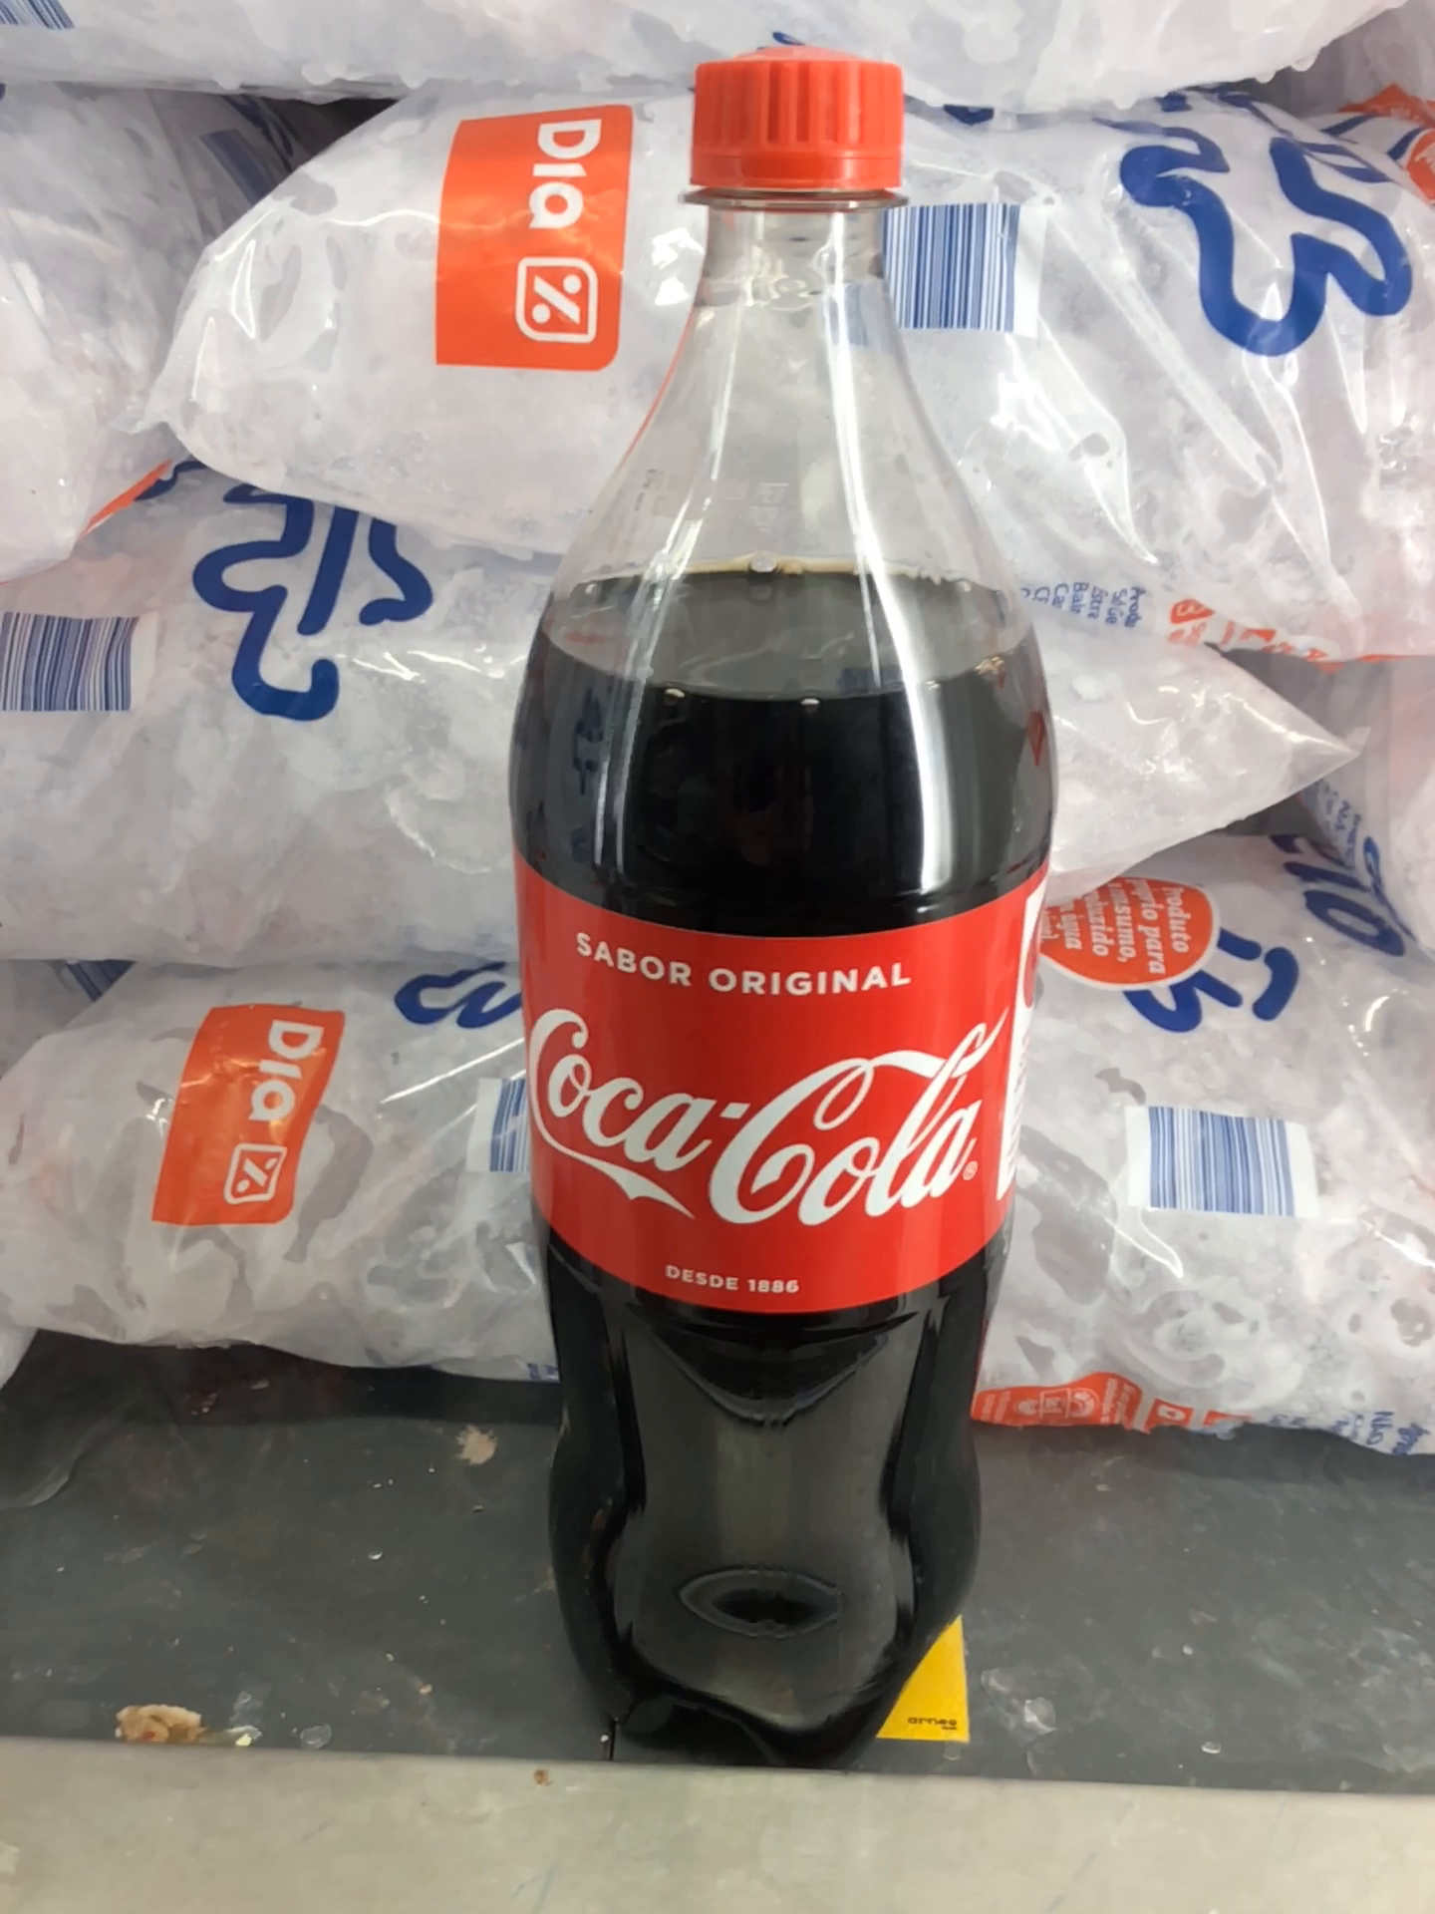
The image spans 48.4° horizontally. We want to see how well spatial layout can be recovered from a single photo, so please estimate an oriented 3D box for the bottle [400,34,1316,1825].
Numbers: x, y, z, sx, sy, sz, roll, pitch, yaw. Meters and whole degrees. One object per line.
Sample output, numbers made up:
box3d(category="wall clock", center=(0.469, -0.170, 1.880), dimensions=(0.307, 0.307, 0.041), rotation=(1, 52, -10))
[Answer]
box3d(category="bottle", center=(0.018, 0.010, 0.274), dimensions=(0.100, 0.288, 0.081), rotation=(7, 28, 10))
